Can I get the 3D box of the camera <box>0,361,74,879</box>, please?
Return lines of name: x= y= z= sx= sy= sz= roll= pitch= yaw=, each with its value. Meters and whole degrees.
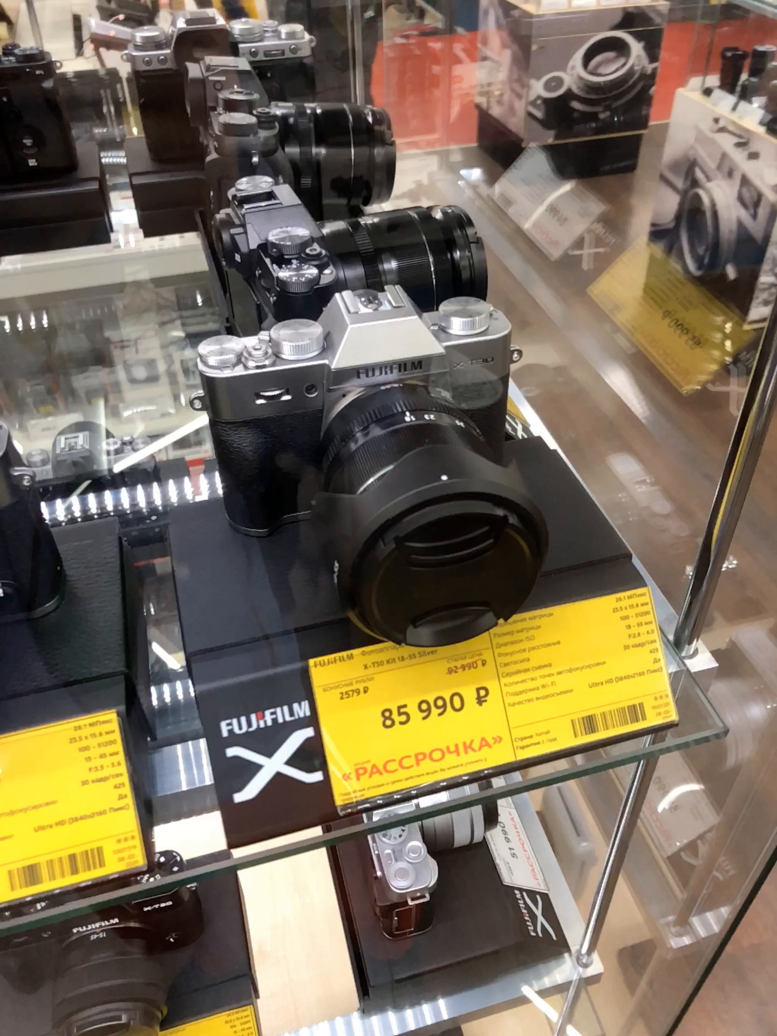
camera: x=-0.180 y=0.025 z=0.269 sx=0.135 sy=0.088 sz=0.104 roll=-11 pitch=42 yaw=-11

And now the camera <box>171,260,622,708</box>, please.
camera: x=-0.005 y=-0.019 z=0.313 sx=0.120 sy=0.088 sz=0.121 roll=-11 pitch=42 yaw=-11

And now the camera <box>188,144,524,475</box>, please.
camera: x=-0.022 y=-0.111 z=0.427 sx=0.123 sy=0.088 sz=0.145 roll=-12 pitch=43 yaw=-12
